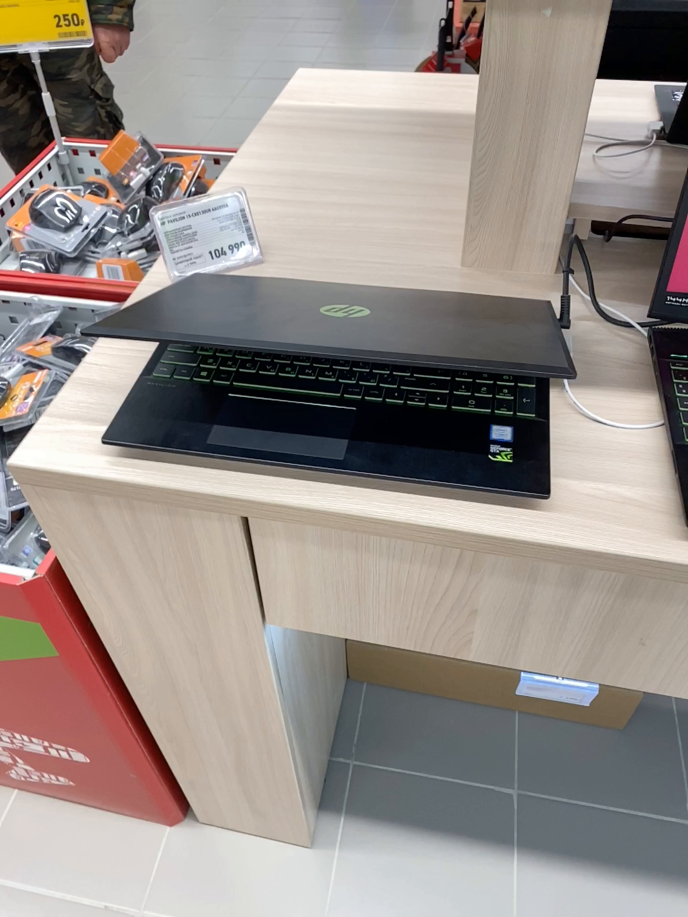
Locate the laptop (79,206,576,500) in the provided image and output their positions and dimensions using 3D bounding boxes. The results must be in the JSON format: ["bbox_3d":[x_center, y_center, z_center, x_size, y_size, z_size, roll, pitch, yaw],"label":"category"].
[{"bbox_3d":[0.002,-0.109,0.614,0.366,0.086,0.241,7,47,9],"label":"laptop"}]
